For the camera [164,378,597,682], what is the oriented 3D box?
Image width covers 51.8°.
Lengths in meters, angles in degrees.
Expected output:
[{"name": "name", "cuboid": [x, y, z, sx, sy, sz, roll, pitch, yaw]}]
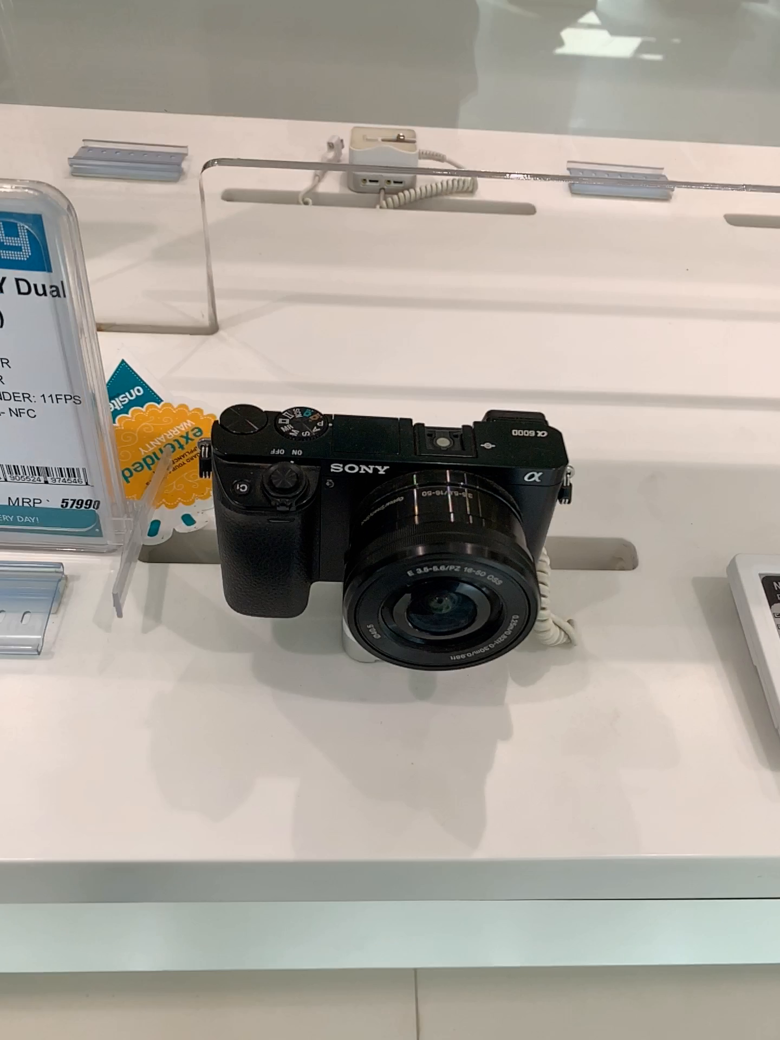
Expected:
[{"name": "camera", "cuboid": [-0.004, 0.004, 0.235, 0.104, 0.063, 0.059, 2, 48, -3]}]
